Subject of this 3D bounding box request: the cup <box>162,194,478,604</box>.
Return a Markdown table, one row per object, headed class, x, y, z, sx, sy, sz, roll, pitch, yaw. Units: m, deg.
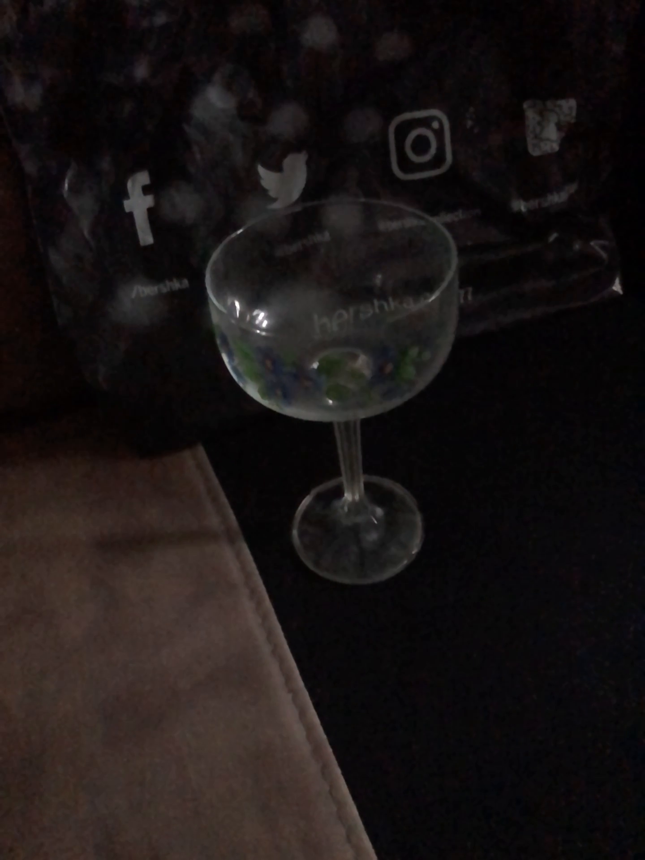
| class | x | y | z | sx | sy | sz | roll | pitch | yaw |
| --- | --- | --- | --- | --- | --- | --- | --- | --- | --- |
| cup | 0.007 | -0.008 | 0.296 | 0.096 | 0.147 | 0.085 | 4 | 46 | 7 |
